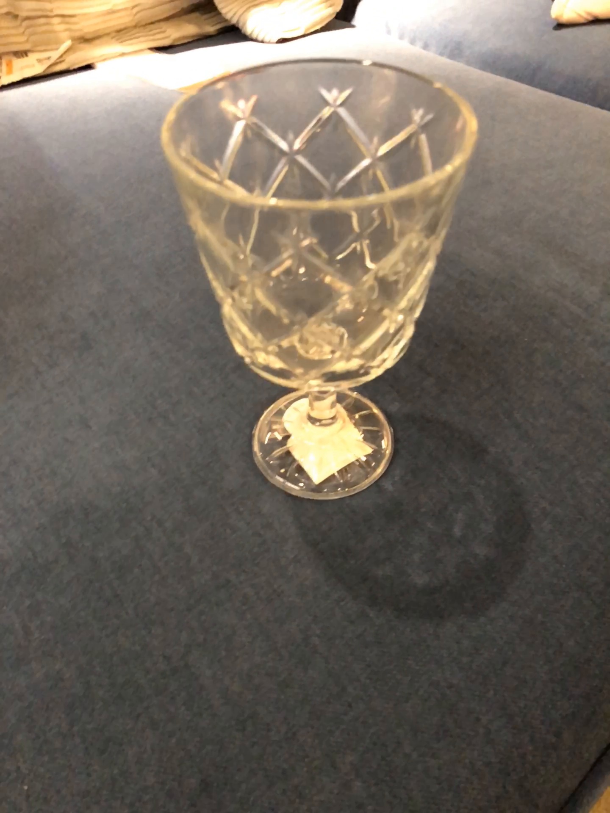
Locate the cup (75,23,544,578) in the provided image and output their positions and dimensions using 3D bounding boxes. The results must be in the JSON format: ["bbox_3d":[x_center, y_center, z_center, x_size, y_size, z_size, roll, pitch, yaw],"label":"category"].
[{"bbox_3d":[0.005,-0.032,0.230,0.090,0.140,0.090,0,47,0],"label":"cup"}]
